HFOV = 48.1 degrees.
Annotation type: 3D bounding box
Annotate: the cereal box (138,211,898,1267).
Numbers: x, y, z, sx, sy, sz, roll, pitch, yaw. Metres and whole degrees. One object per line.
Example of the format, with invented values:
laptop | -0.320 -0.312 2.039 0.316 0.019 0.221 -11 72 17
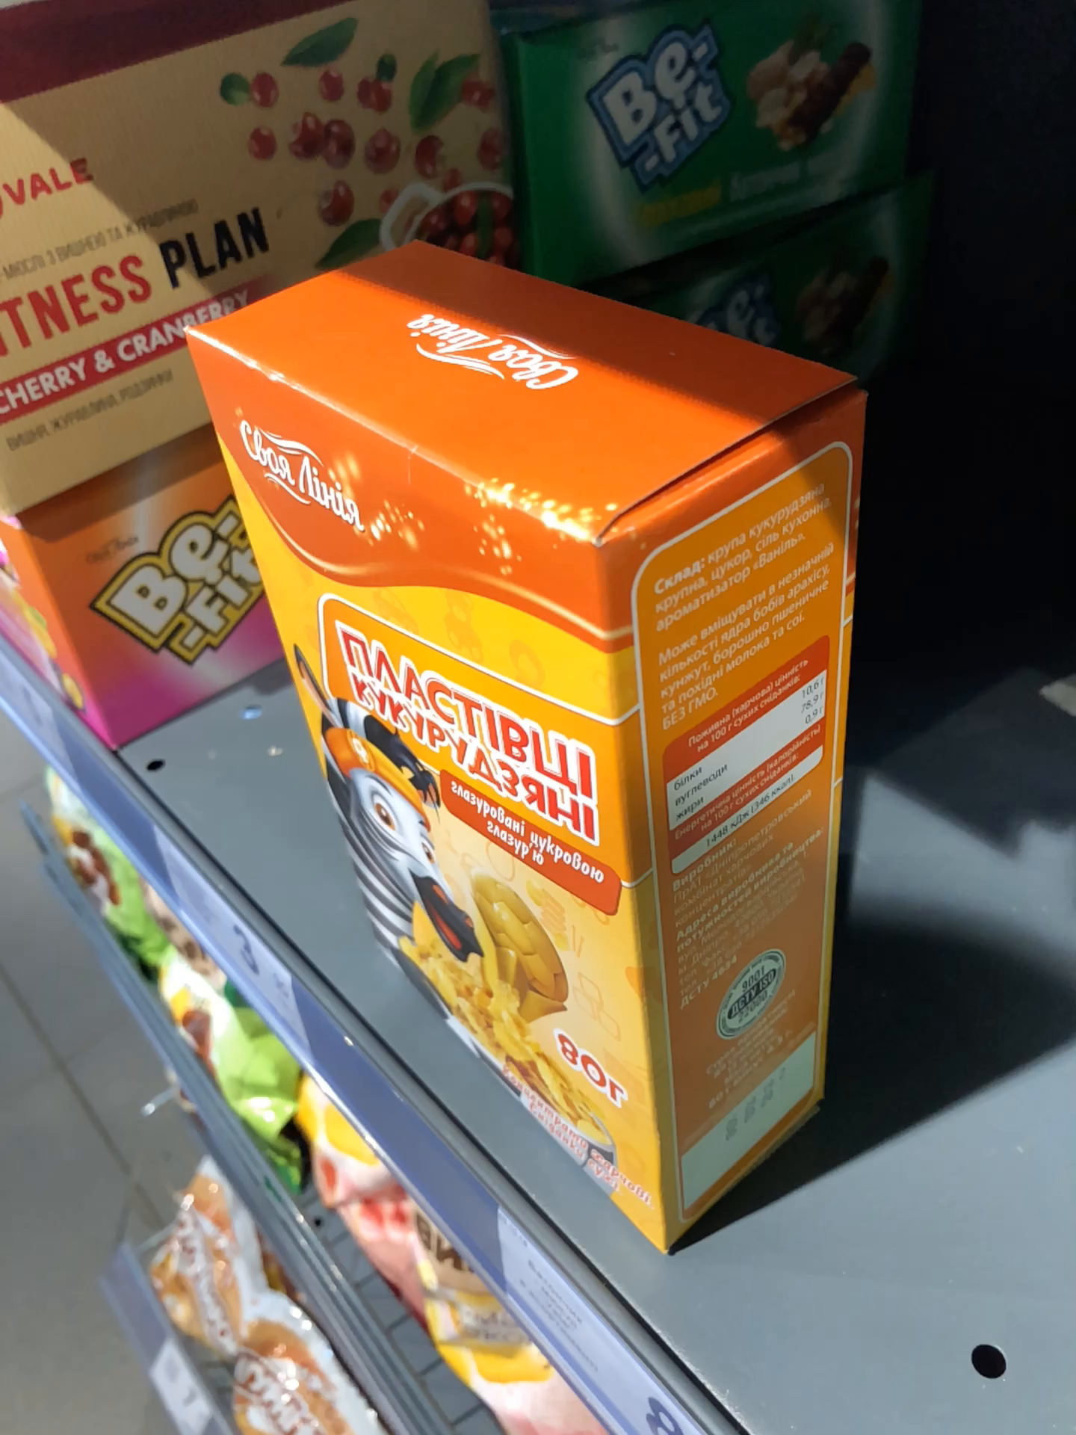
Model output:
cereal box | -0.003 0.004 0.227 0.050 0.159 0.121 -31 44 -25
